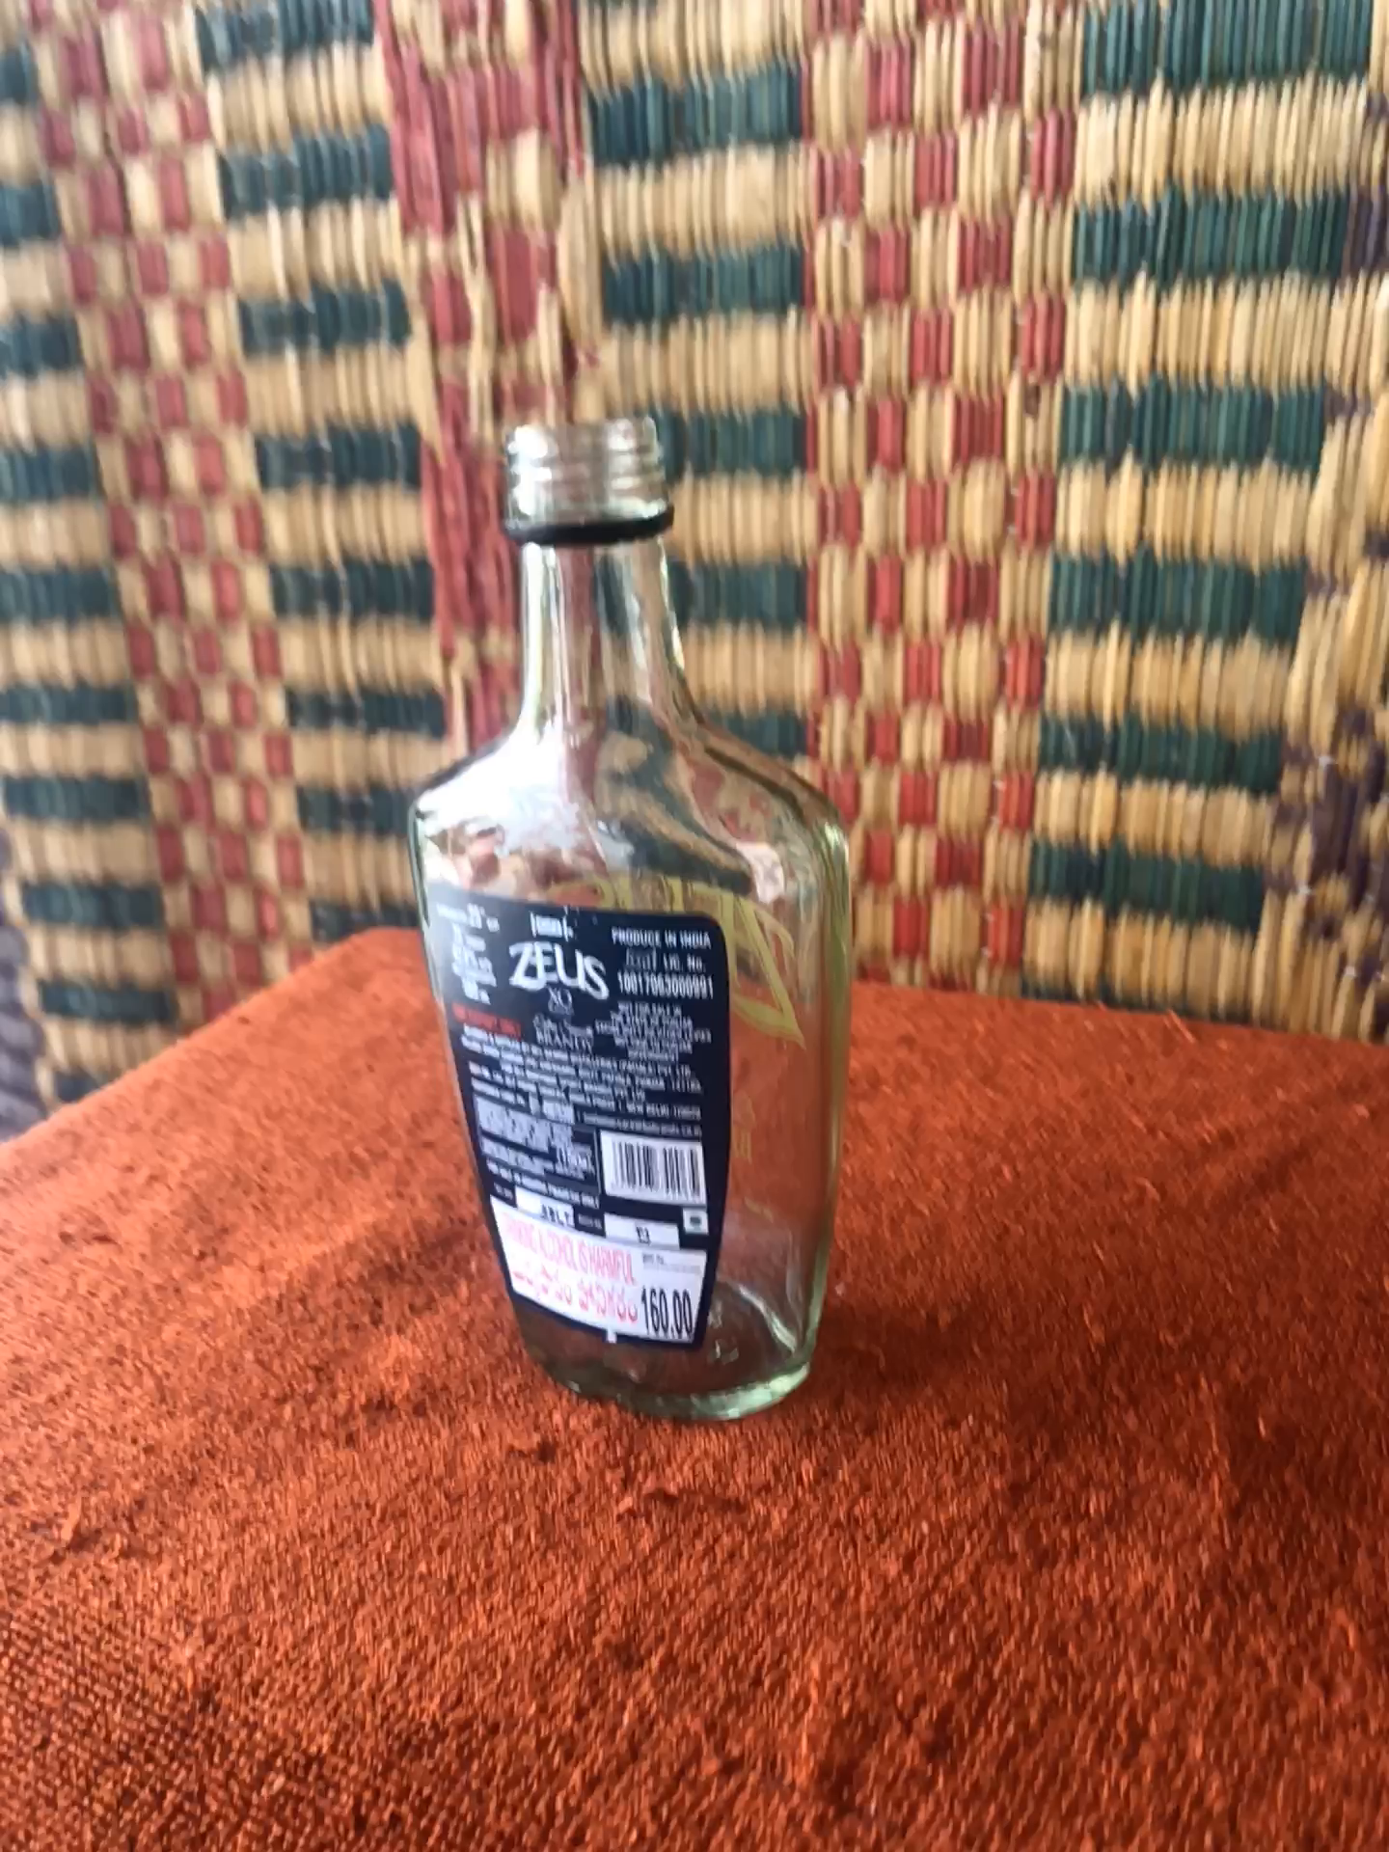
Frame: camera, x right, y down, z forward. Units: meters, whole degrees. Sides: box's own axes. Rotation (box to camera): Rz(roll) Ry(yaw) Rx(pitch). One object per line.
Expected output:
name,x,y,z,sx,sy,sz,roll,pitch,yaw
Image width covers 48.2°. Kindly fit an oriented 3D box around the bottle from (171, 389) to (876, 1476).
bottle,-0.020,0.001,0.237,0.080,0.149,0.040,8,26,28
